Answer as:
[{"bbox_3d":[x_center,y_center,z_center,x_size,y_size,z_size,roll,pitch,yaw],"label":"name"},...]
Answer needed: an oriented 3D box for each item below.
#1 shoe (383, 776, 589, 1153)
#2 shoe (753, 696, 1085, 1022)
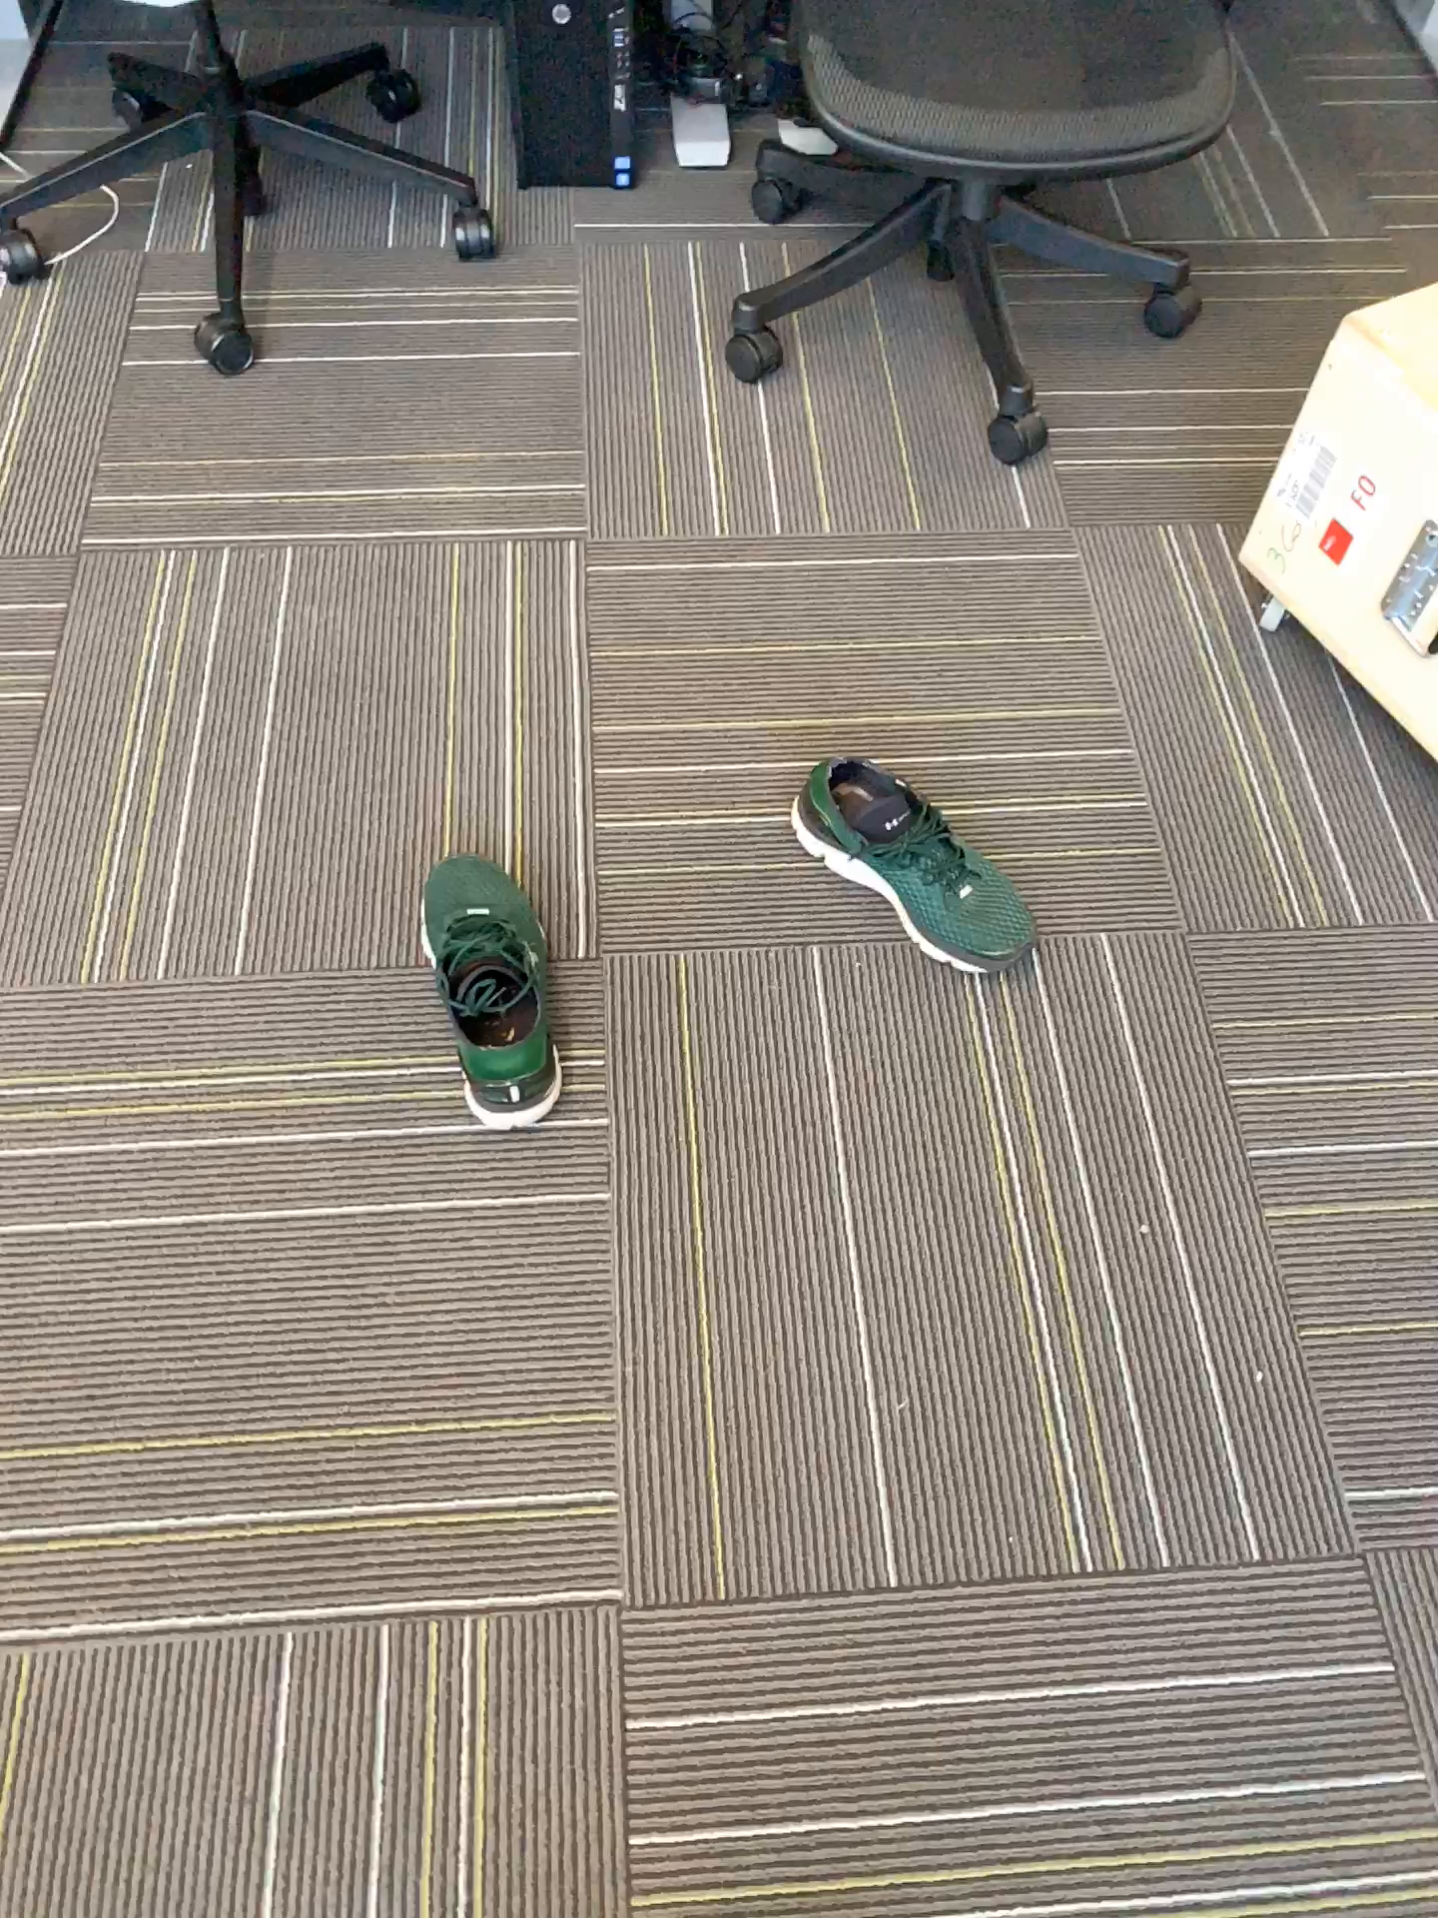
[{"bbox_3d":[-0.221,0.001,1.388,0.130,0.139,0.311,-11,59,-9],"label":"shoe"},{"bbox_3d":[0.196,-0.105,1.513,0.311,0.139,0.130,40,65,21],"label":"shoe"}]
